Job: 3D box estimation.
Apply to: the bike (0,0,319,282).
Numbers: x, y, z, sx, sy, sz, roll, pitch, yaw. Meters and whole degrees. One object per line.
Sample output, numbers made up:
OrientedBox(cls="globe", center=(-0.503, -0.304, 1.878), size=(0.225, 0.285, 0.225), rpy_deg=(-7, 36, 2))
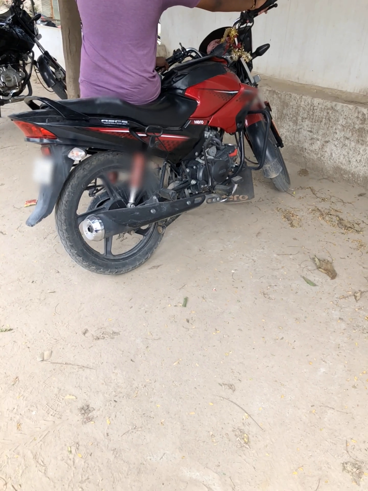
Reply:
OrientedBox(cls="bike", center=(-0.052, -0.887, 2.255), size=(0.741, 1.086, 1.708), rpy_deg=(24, 44, 34))
